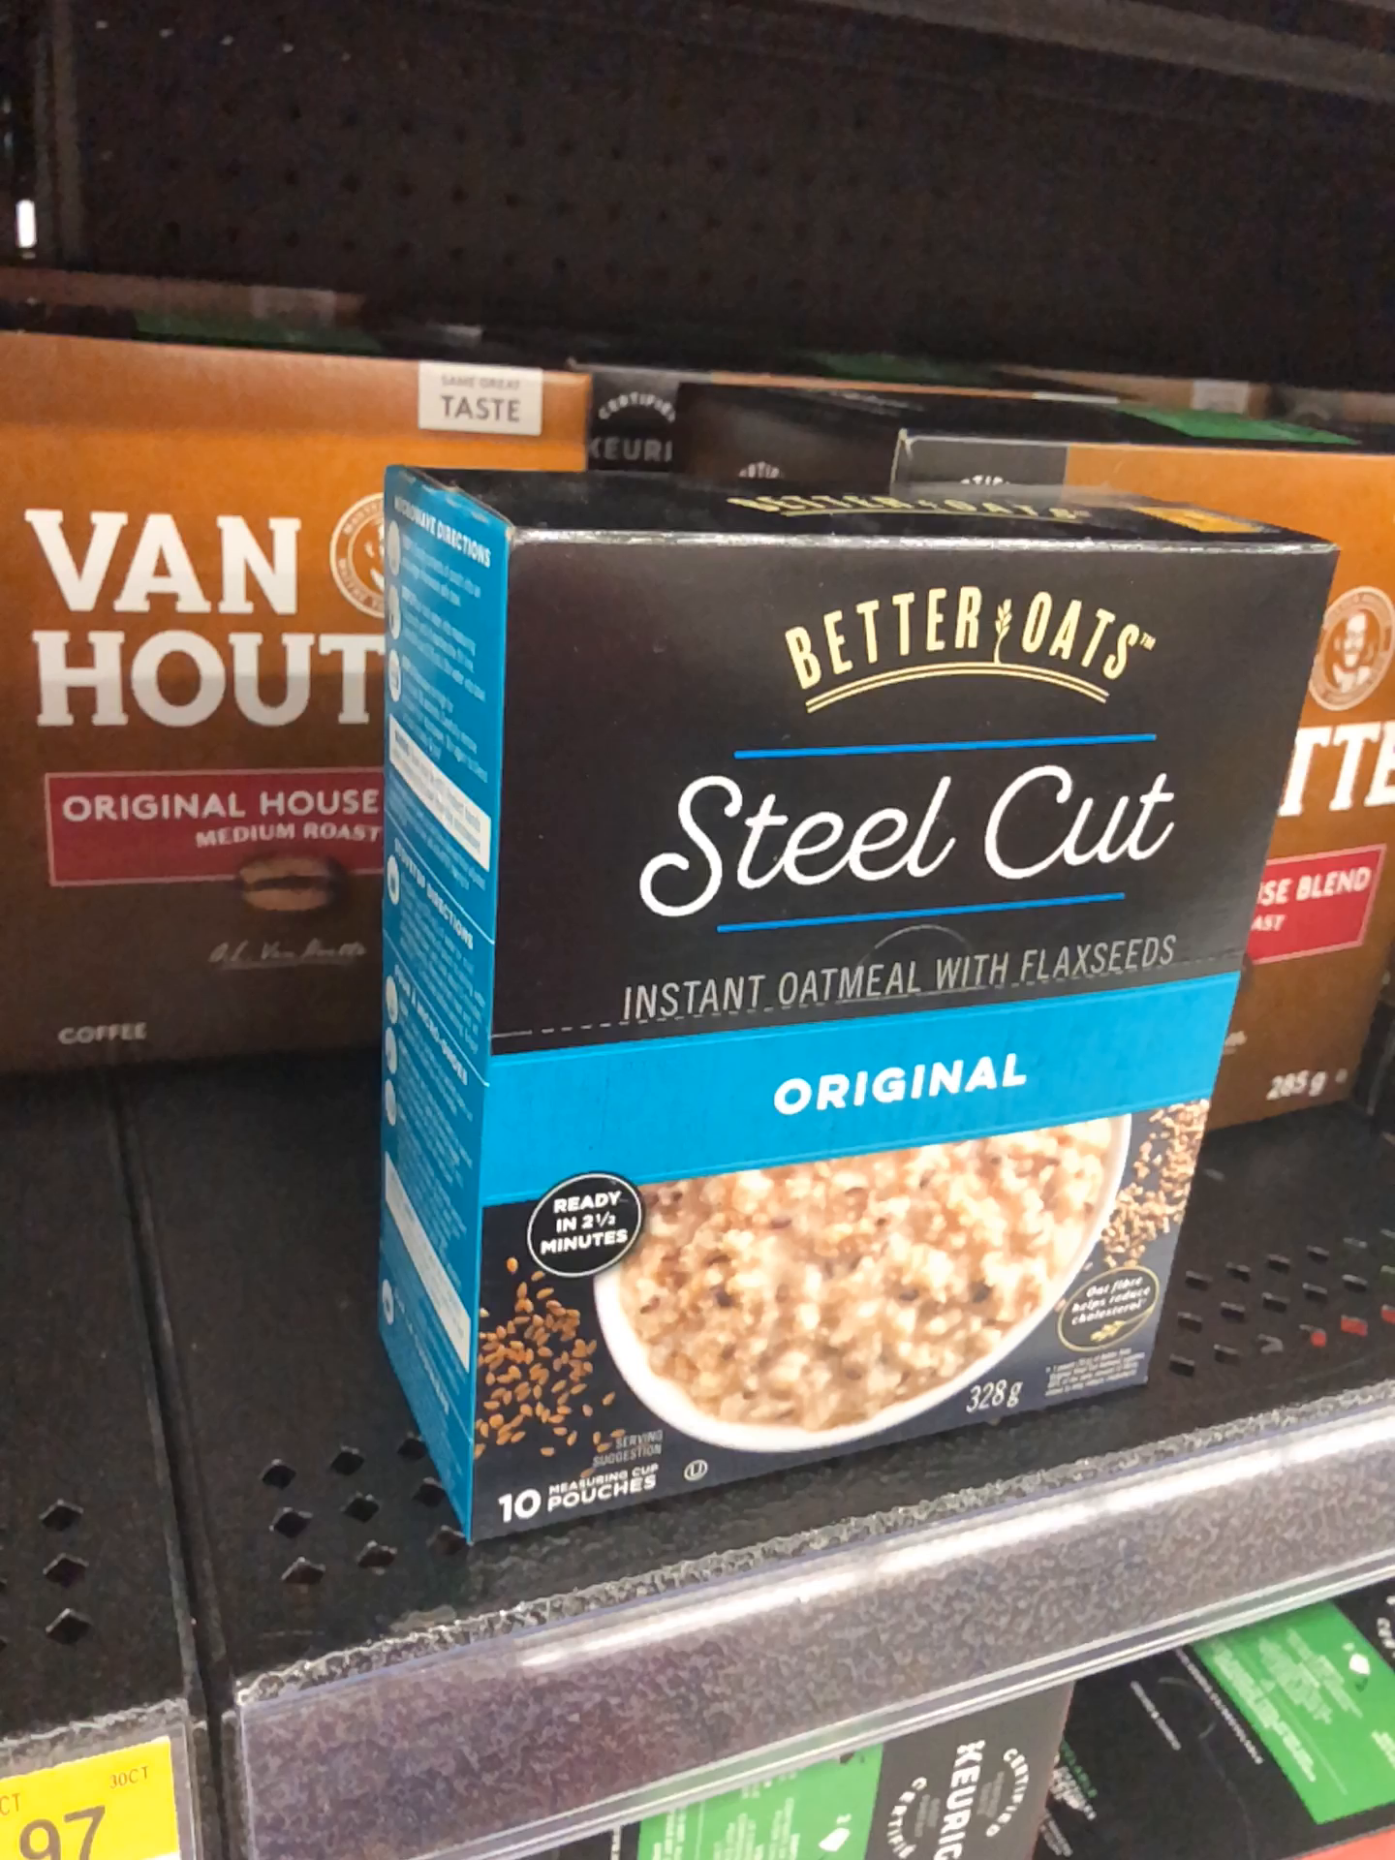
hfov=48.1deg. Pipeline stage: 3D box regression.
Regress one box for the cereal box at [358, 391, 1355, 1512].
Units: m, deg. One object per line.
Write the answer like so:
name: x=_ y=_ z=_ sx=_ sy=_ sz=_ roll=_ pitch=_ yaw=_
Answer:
cereal box: x=0.021 y=0.002 z=0.293 sx=0.150 sy=0.179 sz=0.060 roll=-5 pitch=26 yaw=-25
